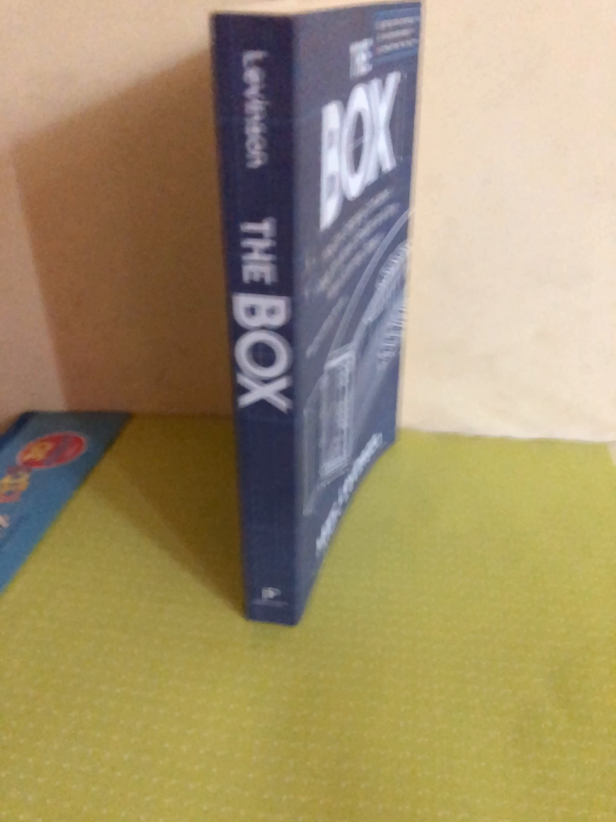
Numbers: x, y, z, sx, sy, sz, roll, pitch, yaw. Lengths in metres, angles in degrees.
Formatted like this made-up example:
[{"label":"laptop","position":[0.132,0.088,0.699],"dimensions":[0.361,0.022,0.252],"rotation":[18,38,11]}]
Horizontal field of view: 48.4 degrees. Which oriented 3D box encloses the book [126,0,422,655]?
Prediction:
[{"label":"book","position":[0.003,-0.048,0.292],"dimensions":[0.050,0.219,0.181],"rotation":[8,31,13]}]
